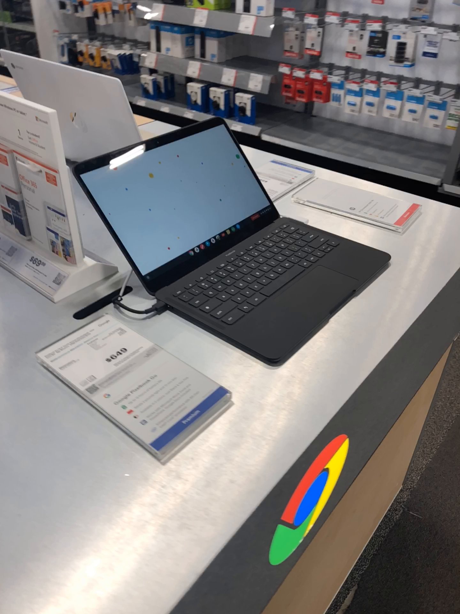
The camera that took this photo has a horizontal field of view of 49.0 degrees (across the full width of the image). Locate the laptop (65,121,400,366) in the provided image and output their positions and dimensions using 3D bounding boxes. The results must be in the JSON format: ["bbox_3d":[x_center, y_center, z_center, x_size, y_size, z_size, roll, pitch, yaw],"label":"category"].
[{"bbox_3d":[0.006,-0.122,0.700,0.335,0.134,0.294,27,43,30],"label":"laptop"}]
